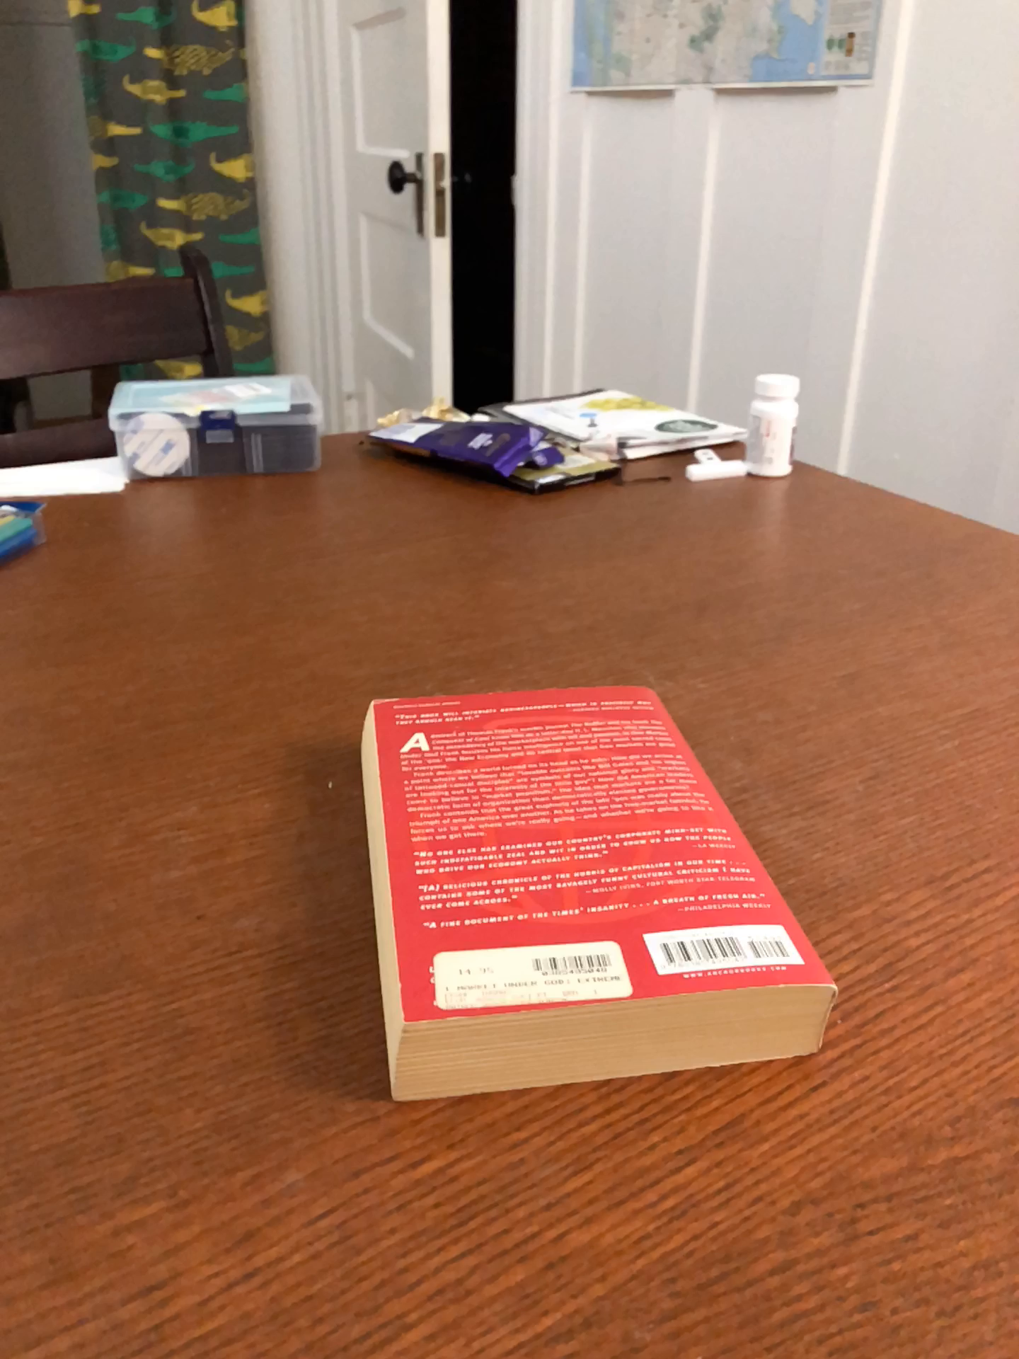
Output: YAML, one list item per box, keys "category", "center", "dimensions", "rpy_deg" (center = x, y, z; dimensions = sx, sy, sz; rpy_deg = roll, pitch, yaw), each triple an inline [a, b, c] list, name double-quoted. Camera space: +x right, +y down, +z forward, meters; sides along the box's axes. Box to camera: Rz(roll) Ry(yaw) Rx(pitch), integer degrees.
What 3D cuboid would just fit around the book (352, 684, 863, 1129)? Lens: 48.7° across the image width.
- category: "book"
  center: [0.016, 0.064, 0.415]
  dimensions: [0.140, 0.030, 0.211]
  rpy_deg: [-3, 26, -8]
